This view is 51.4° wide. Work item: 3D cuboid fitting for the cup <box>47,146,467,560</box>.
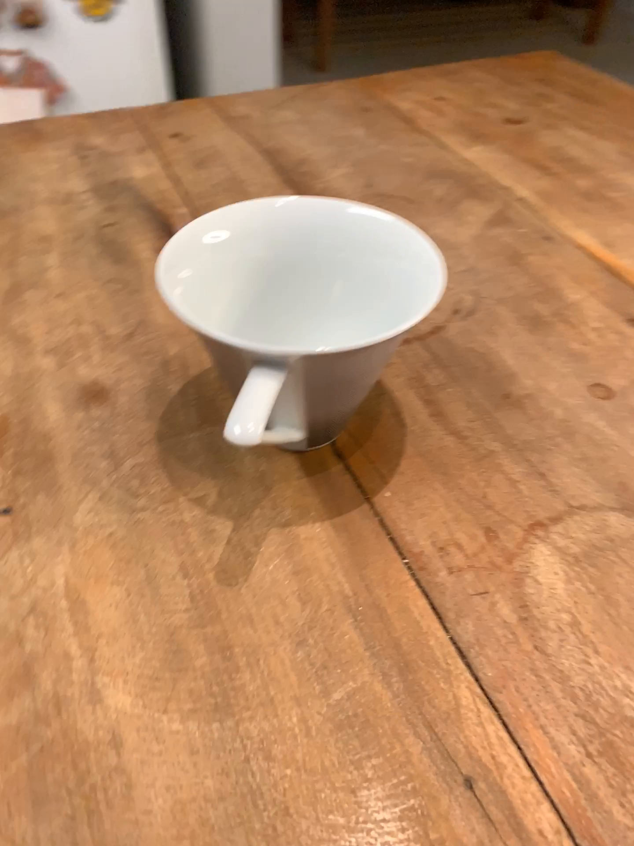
[{"bbox_3d":[-0.008,-0.032,0.218,0.090,0.060,0.121,12,46,10],"label":"cup"}]
